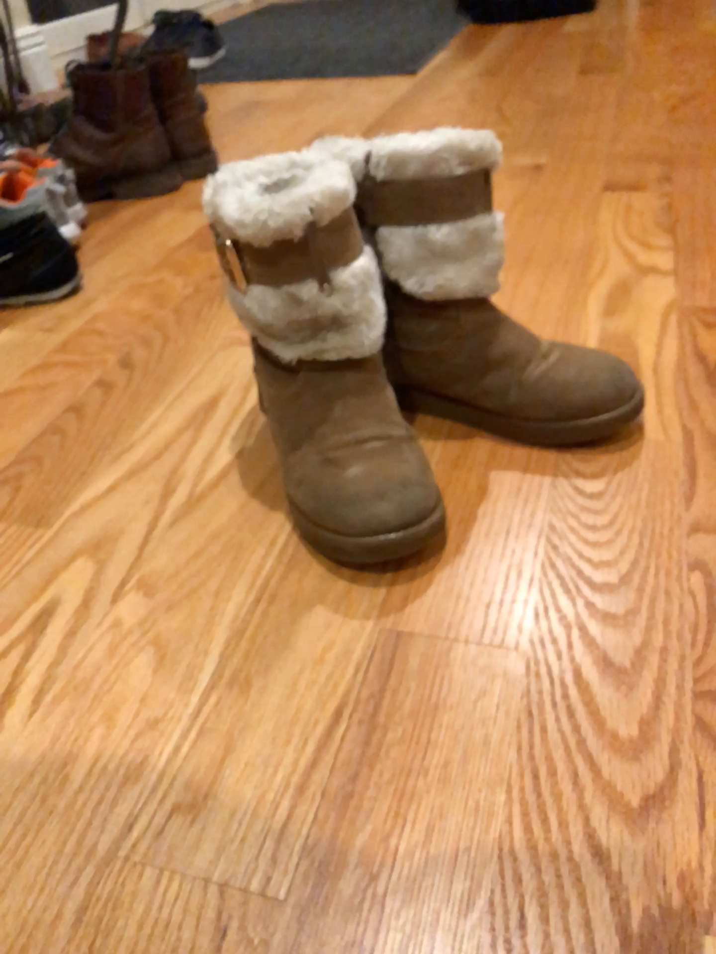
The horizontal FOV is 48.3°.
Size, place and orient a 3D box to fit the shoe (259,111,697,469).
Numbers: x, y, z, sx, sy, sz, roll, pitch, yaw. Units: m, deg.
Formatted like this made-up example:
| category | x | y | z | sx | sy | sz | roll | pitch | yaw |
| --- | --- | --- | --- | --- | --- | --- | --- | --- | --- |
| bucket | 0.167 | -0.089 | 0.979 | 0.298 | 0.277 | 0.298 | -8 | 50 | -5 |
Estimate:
| category | x | y | z | sx | sy | sz | roll | pitch | yaw |
| --- | --- | --- | --- | --- | --- | --- | --- | --- | --- |
| shoe | 0.082 | -0.142 | 0.568 | 0.255 | 0.193 | 0.113 | 14 | 40 | 27 |

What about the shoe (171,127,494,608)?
| category | x | y | z | sx | sy | sz | roll | pitch | yaw |
| --- | --- | --- | --- | --- | --- | --- | --- | --- | --- |
| shoe | -0.023 | -0.086 | 0.504 | 0.106 | 0.193 | 0.256 | -16 | 36 | -13 |
